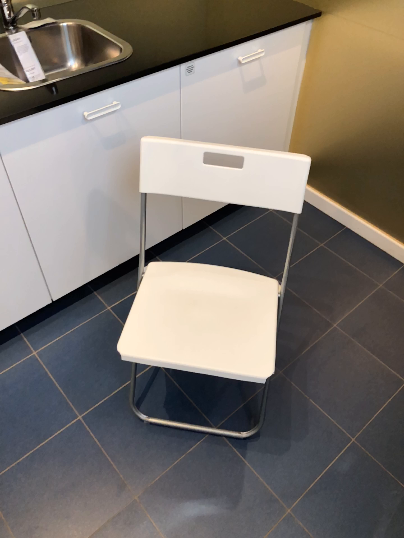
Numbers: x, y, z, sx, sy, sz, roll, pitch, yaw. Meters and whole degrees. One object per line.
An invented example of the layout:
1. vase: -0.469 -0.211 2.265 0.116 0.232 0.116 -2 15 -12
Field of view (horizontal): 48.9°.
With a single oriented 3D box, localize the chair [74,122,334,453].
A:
1. chair: 0.032 0.085 1.287 0.490 0.775 0.523 8 48 6
